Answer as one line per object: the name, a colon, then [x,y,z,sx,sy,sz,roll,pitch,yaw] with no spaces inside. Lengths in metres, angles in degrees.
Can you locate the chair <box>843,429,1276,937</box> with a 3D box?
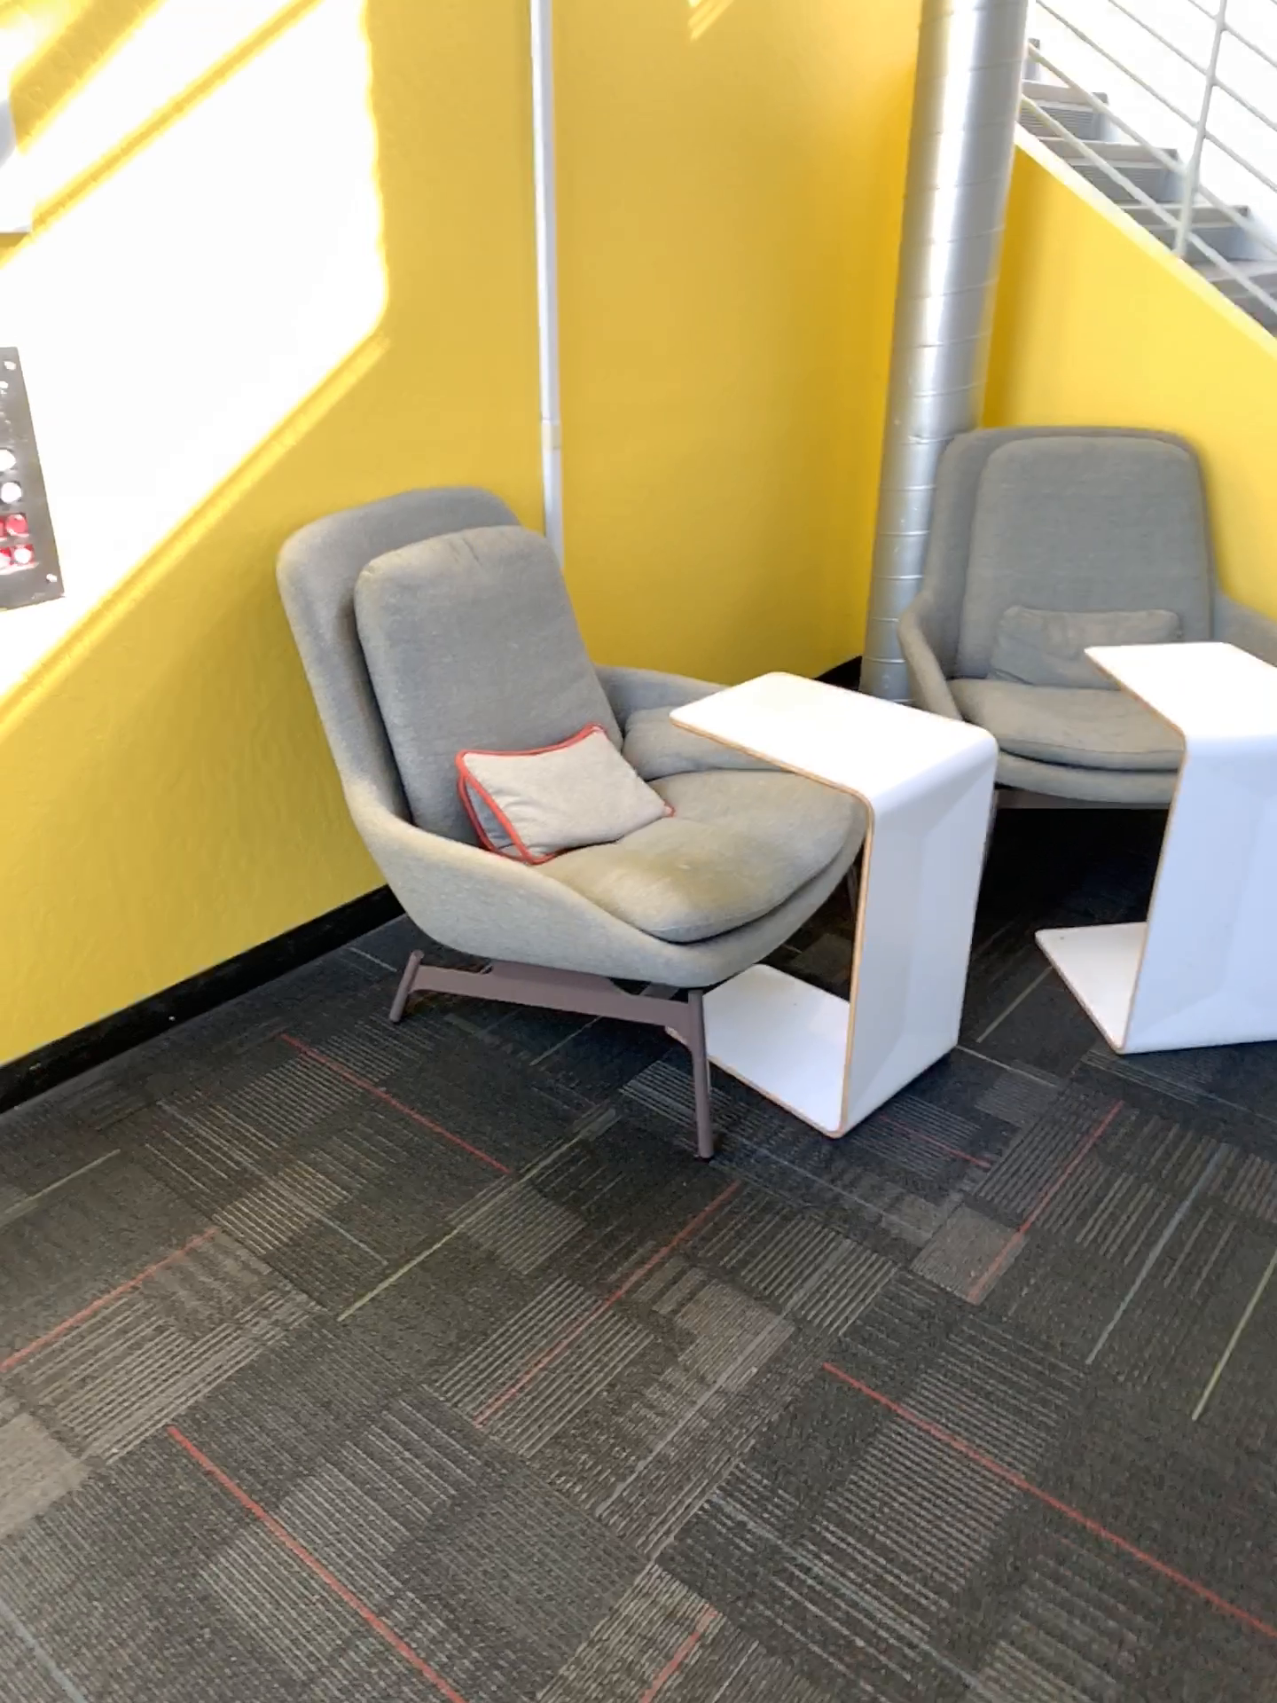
chair: [1.050,-0.454,3.166,0.890,1.015,0.845,-2,23,-2]

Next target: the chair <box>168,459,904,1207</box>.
chair: [-0.118,-0.127,2.246,0.872,0.925,0.803,12,28,28]
